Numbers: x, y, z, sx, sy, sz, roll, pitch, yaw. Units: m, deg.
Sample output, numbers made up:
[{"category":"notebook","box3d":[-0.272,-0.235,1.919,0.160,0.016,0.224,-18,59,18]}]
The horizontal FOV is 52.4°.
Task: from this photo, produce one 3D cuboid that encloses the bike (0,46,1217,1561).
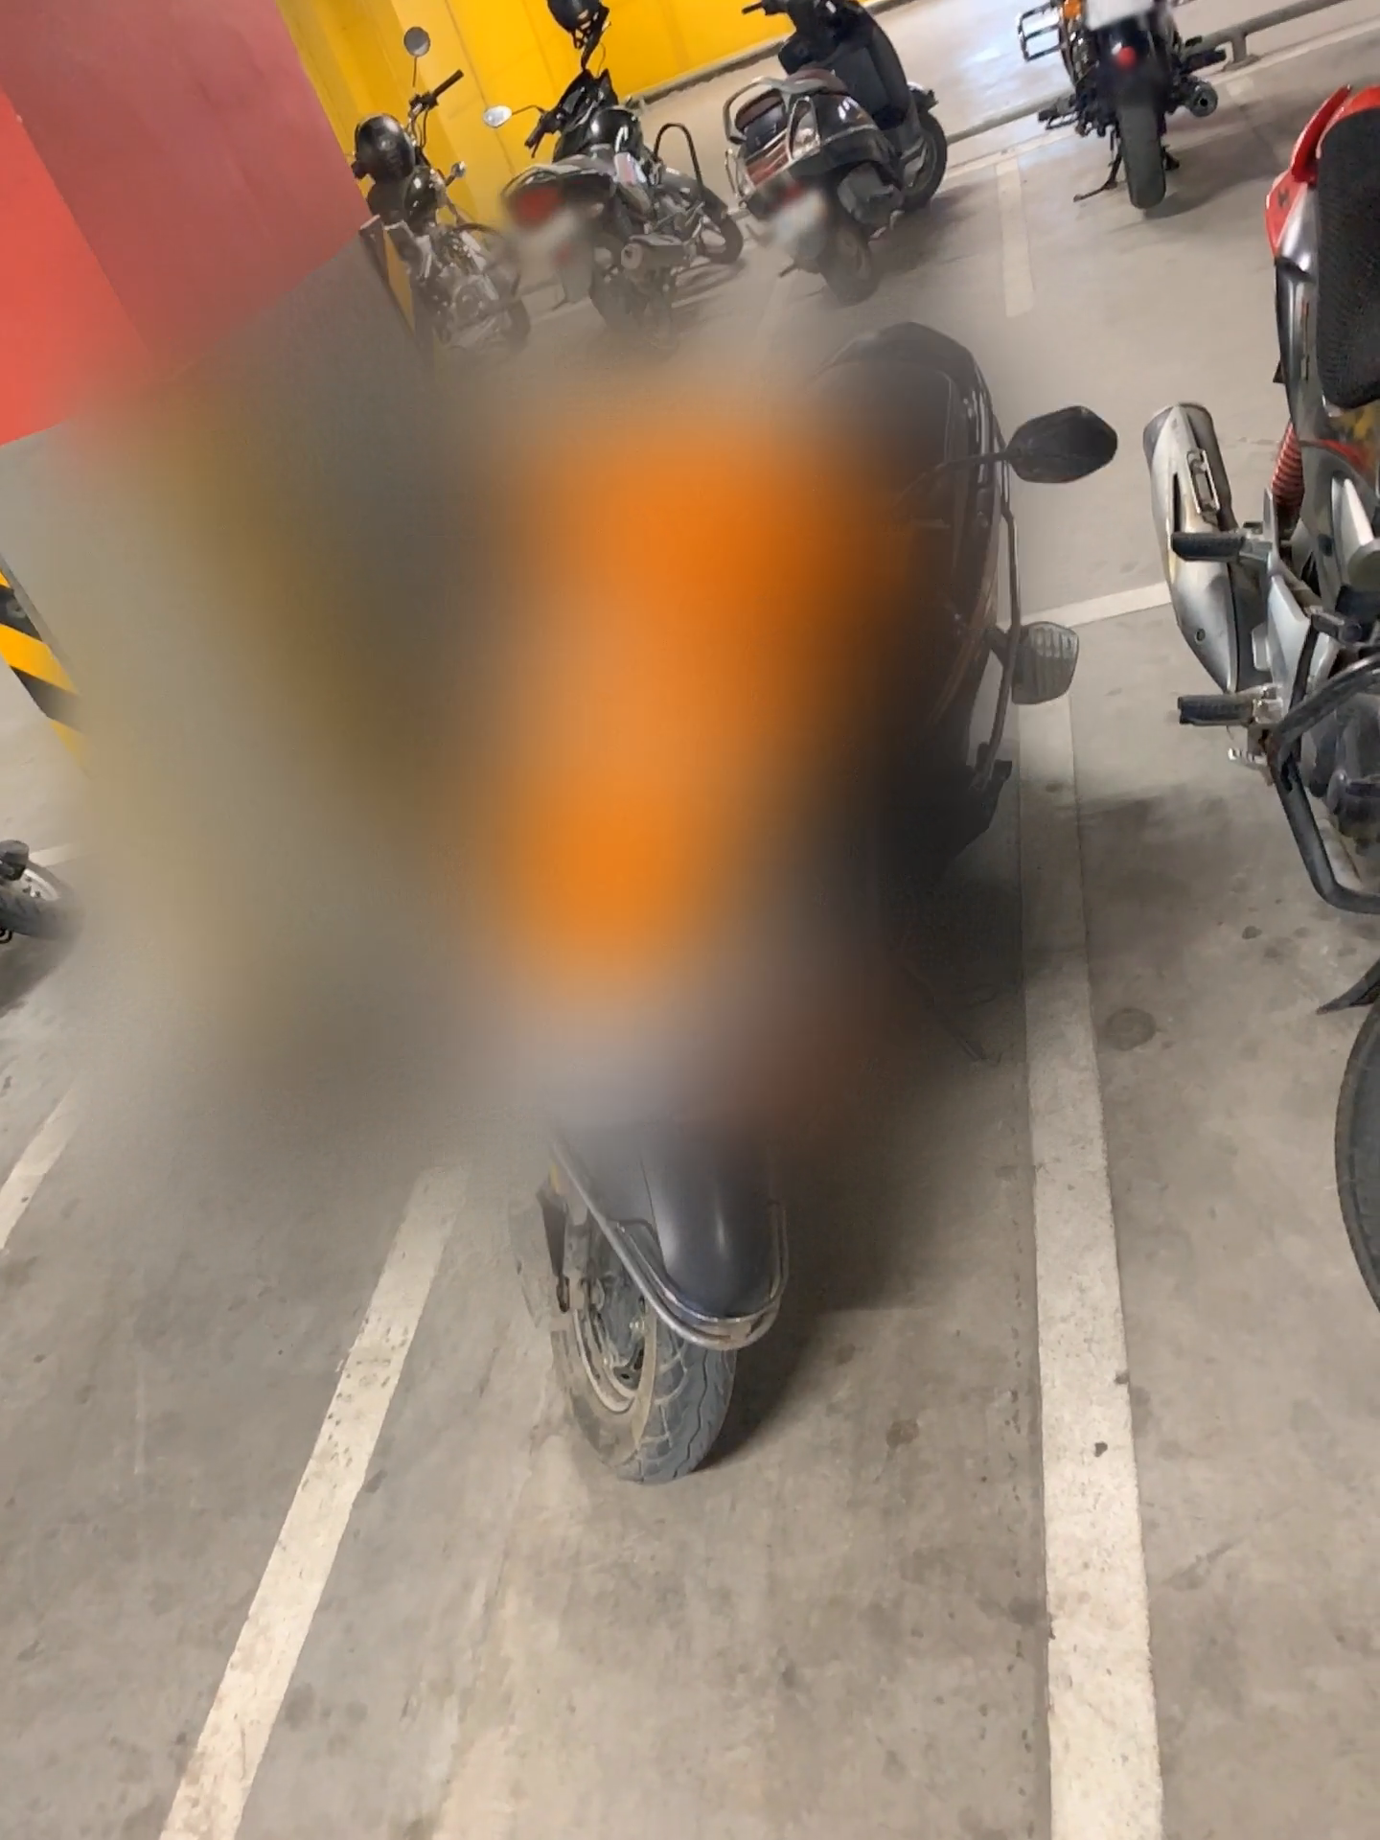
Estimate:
[{"category":"bike","box3d":[0.197,-0.232,1.888,0.726,1.172,1.610,-5,38,27]}]
